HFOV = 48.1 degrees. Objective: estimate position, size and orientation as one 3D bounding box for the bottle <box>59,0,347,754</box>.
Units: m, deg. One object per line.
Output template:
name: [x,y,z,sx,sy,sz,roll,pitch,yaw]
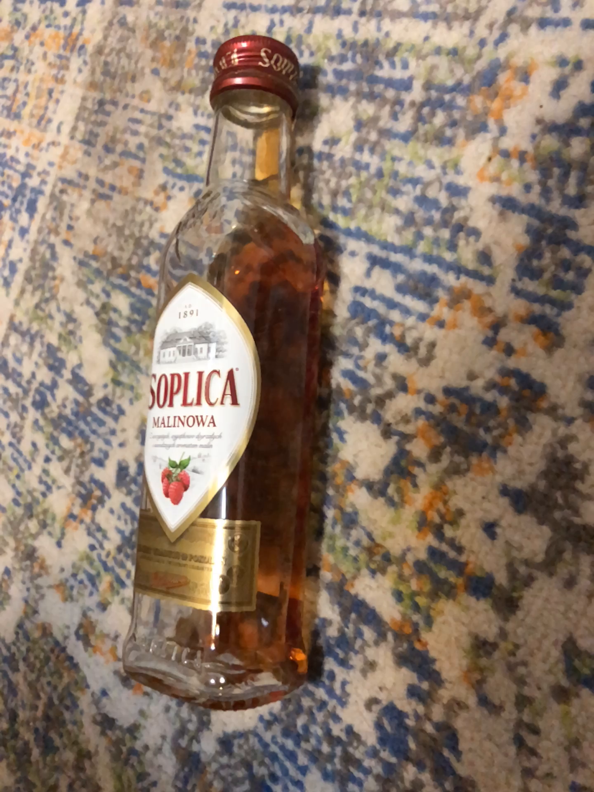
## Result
bottle: [-0.026,-0.018,0.200,0.060,0.040,0.210,-3,81,40]
